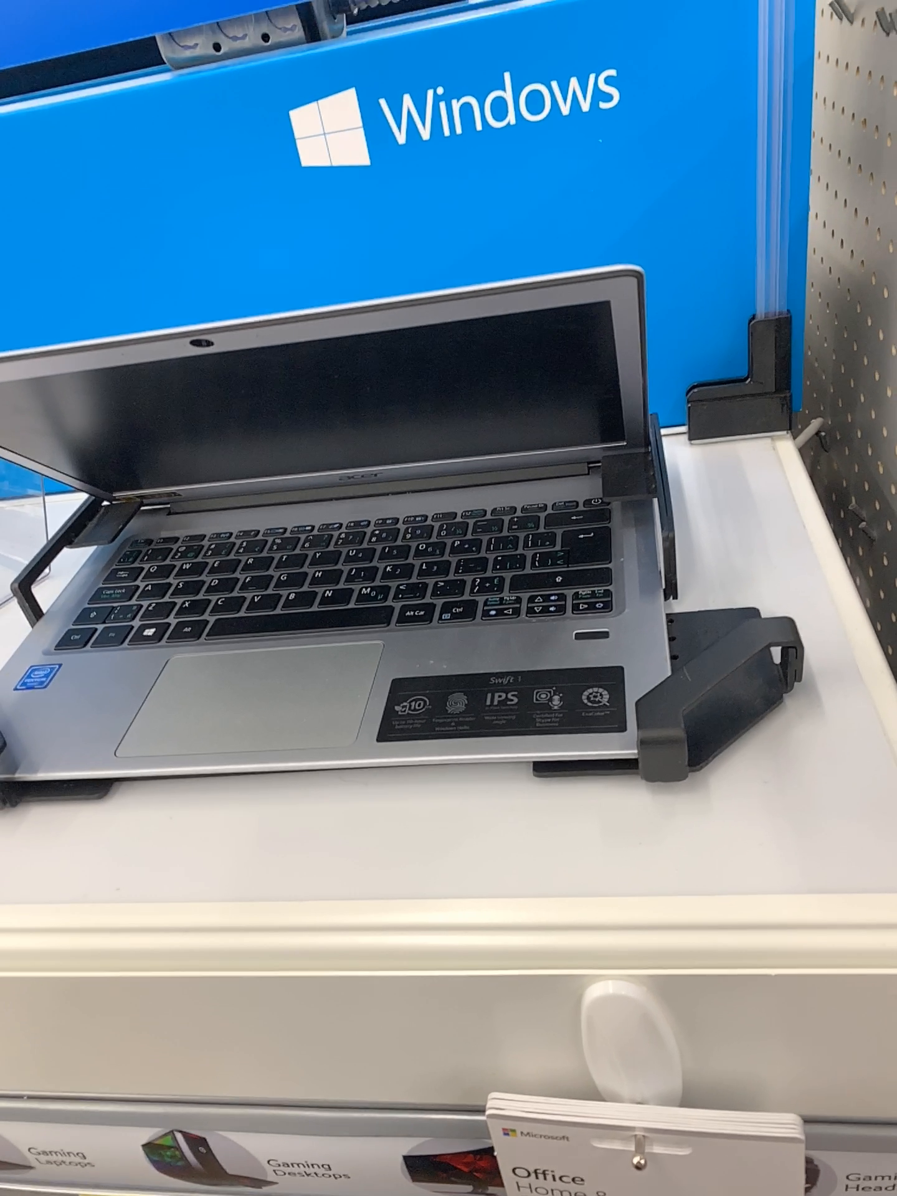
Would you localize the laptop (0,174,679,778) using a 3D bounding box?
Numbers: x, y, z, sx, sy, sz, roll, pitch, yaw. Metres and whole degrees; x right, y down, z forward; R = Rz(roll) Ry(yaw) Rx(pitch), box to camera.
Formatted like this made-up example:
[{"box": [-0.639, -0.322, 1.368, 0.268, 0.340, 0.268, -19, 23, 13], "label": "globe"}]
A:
[{"box": [-0.071, -0.053, 0.392, 0.307, 0.140, 0.198, -4, 37, 12], "label": "laptop"}]
